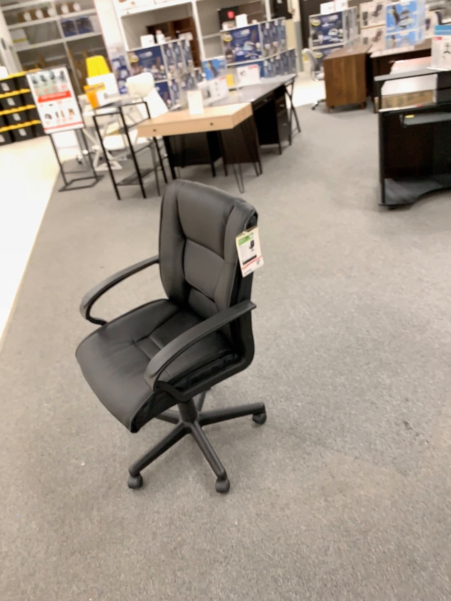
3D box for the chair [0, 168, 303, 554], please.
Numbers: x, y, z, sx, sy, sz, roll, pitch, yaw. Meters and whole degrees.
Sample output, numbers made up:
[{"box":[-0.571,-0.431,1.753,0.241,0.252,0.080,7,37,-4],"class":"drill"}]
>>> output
[{"box":[-0.244,0.163,1.669,0.700,0.965,0.684,-26,36,-23],"class":"chair"}]
